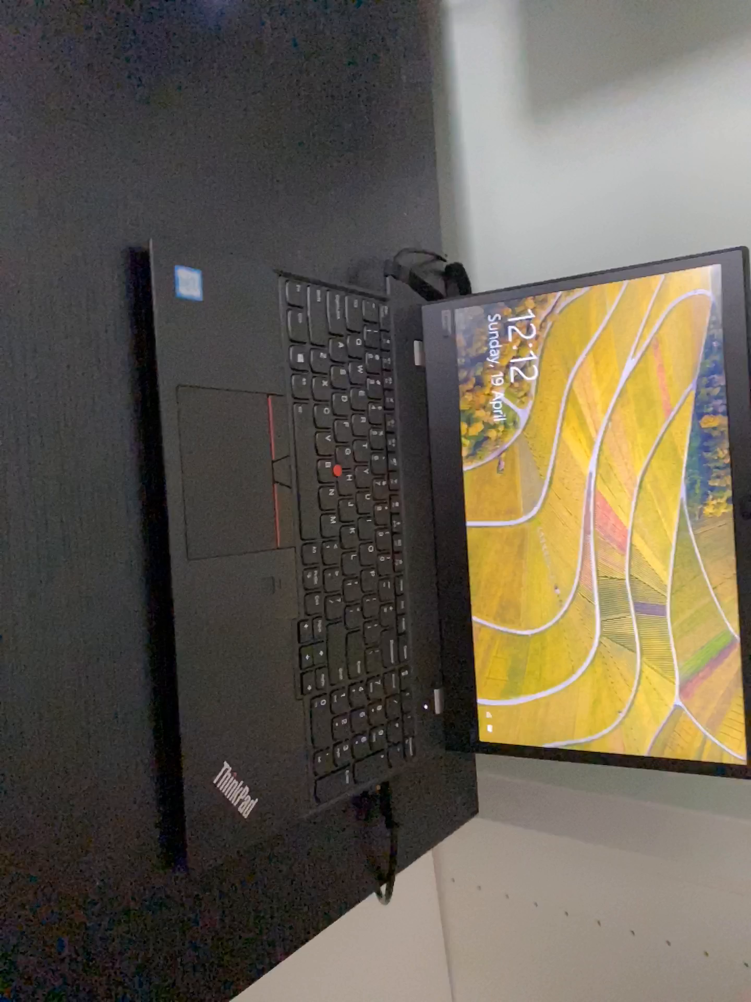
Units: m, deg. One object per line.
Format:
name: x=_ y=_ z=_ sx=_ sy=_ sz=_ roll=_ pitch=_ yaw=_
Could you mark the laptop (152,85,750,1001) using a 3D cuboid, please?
laptop: x=0.075 y=0.021 z=0.467 sx=0.295 sy=0.231 sz=0.351 roll=-3 pitch=89 yaw=-51
